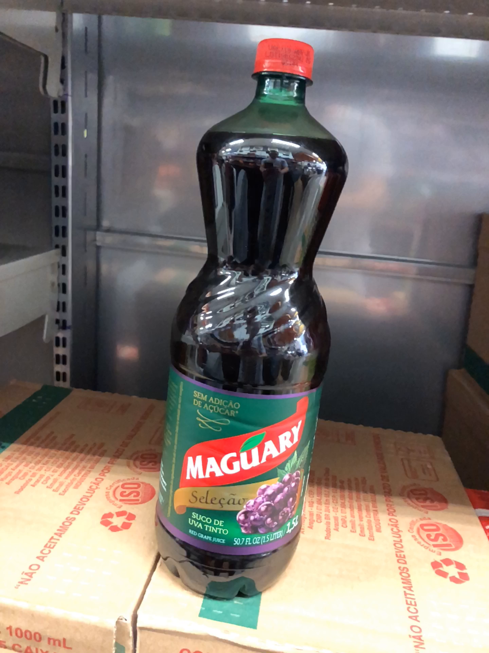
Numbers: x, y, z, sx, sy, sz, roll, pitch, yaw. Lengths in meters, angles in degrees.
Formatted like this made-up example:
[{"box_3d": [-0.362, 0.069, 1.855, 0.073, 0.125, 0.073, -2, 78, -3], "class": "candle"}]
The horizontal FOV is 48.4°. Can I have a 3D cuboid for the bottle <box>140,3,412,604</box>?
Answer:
[{"box_3d": [0.002, 0.001, 0.301, 0.100, 0.289, 0.080, 3, 15, -11], "class": "bottle"}]
